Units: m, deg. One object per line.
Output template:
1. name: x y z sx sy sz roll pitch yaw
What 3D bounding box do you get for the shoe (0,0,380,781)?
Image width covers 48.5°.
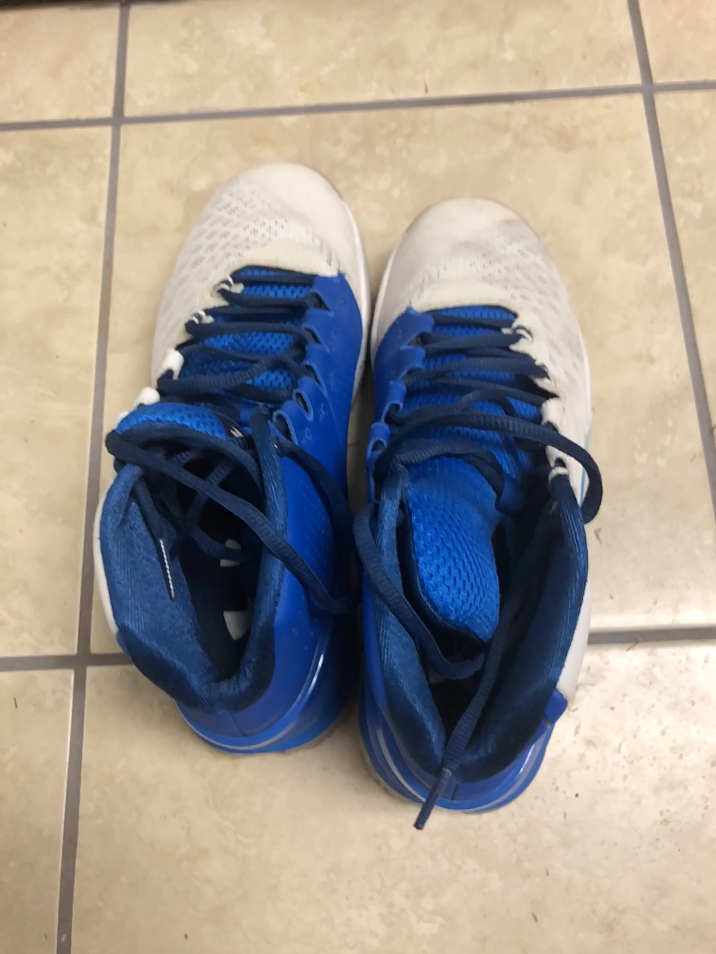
1. shoe: -0.051 -0.039 0.342 0.120 0.100 0.311 0 73 2

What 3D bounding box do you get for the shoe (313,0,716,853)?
1. shoe: 0.055 -0.030 0.331 0.120 0.130 0.323 1 70 3
